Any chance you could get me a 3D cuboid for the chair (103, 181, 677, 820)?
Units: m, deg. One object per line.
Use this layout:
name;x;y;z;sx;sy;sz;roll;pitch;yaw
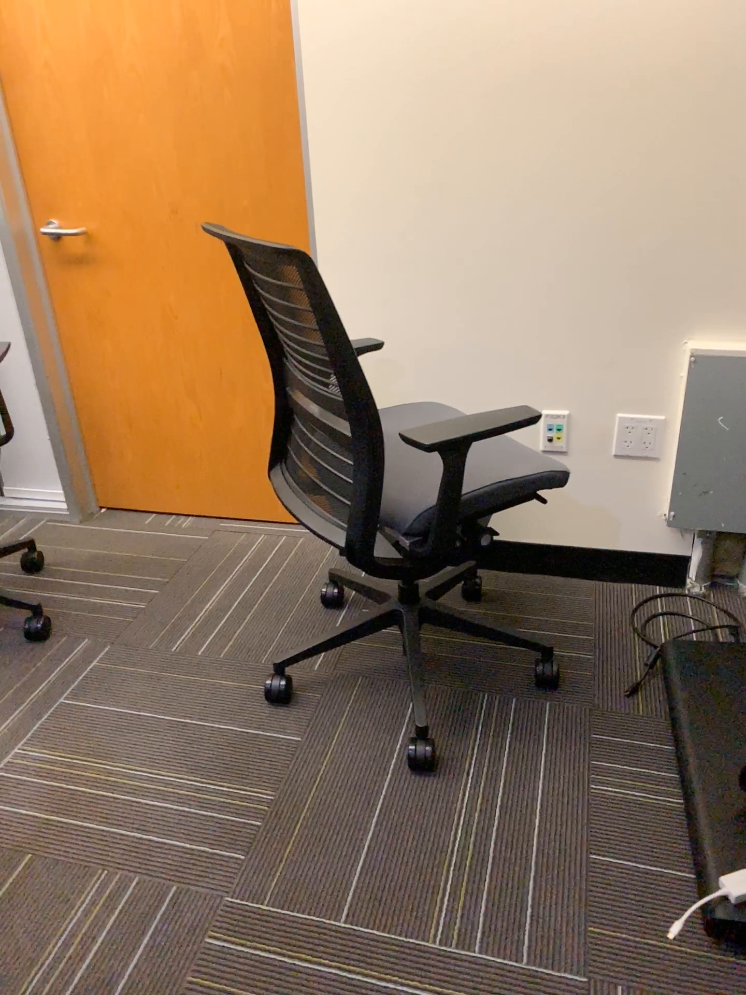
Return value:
chair;0.044;-0.104;1.640;0.781;0.994;0.744;-23;33;-35
